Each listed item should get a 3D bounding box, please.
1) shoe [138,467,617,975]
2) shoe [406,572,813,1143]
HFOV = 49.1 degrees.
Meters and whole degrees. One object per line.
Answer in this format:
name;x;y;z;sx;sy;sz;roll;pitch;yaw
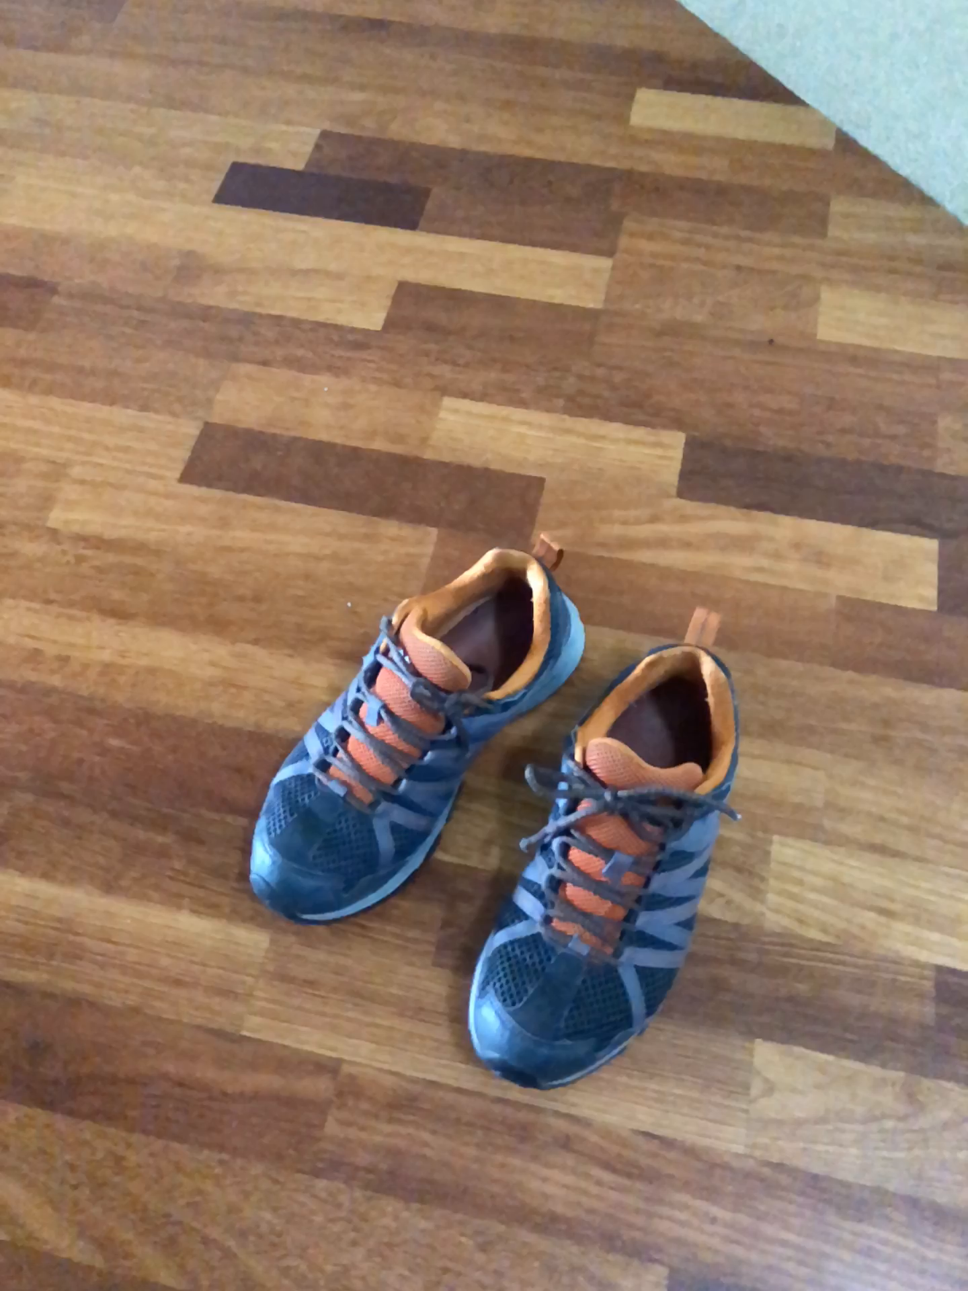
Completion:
shoe;-0.052;0.042;0.654;0.113;0.117;0.282;35;66;19
shoe;0.077;0.116;0.614;0.119;0.117;0.279;22;63;13
